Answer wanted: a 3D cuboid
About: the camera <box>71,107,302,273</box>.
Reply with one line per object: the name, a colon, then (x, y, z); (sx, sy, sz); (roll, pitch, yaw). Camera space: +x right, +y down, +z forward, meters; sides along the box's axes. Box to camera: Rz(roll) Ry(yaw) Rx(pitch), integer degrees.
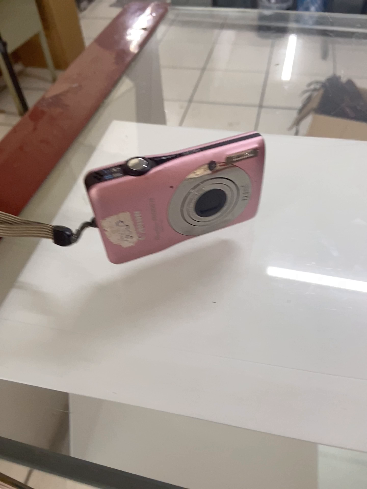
camera: (0.003, -0.028, 0.191); (0.100, 0.050, 0.030); (-18, 49, -15)
